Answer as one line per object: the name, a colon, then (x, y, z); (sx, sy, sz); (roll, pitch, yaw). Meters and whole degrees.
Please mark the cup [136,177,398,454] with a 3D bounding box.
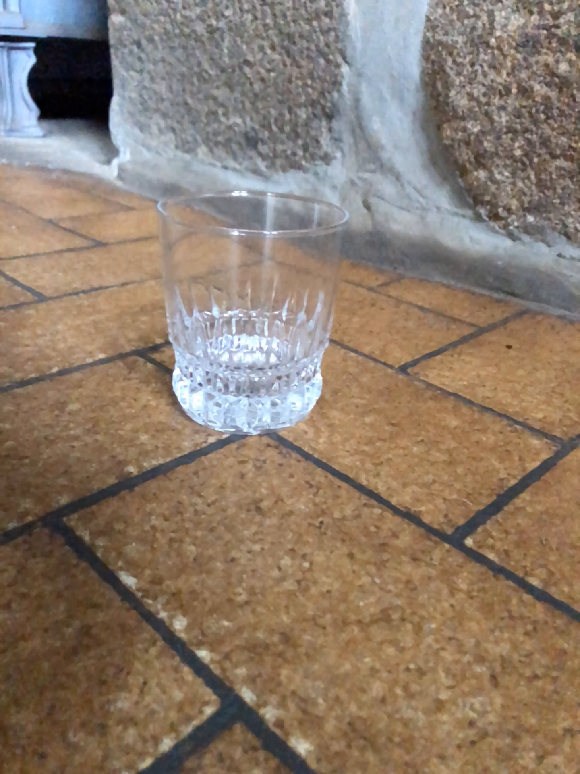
cup: (-0.015, -0.037, 0.281); (0.080, 0.089, 0.080); (3, 27, -2)
